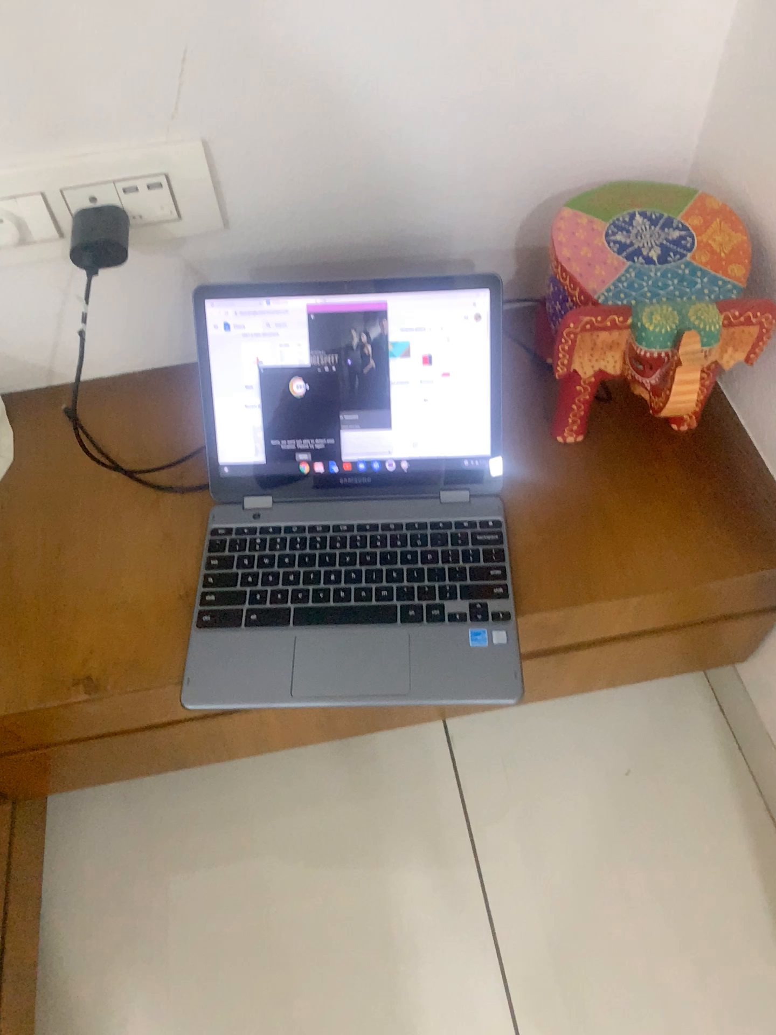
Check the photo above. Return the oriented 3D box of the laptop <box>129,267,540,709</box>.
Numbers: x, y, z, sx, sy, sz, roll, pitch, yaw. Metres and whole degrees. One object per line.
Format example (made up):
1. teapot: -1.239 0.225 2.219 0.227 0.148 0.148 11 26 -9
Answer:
1. laptop: -0.036 -0.035 0.773 0.314 0.164 0.384 -2 58 4
